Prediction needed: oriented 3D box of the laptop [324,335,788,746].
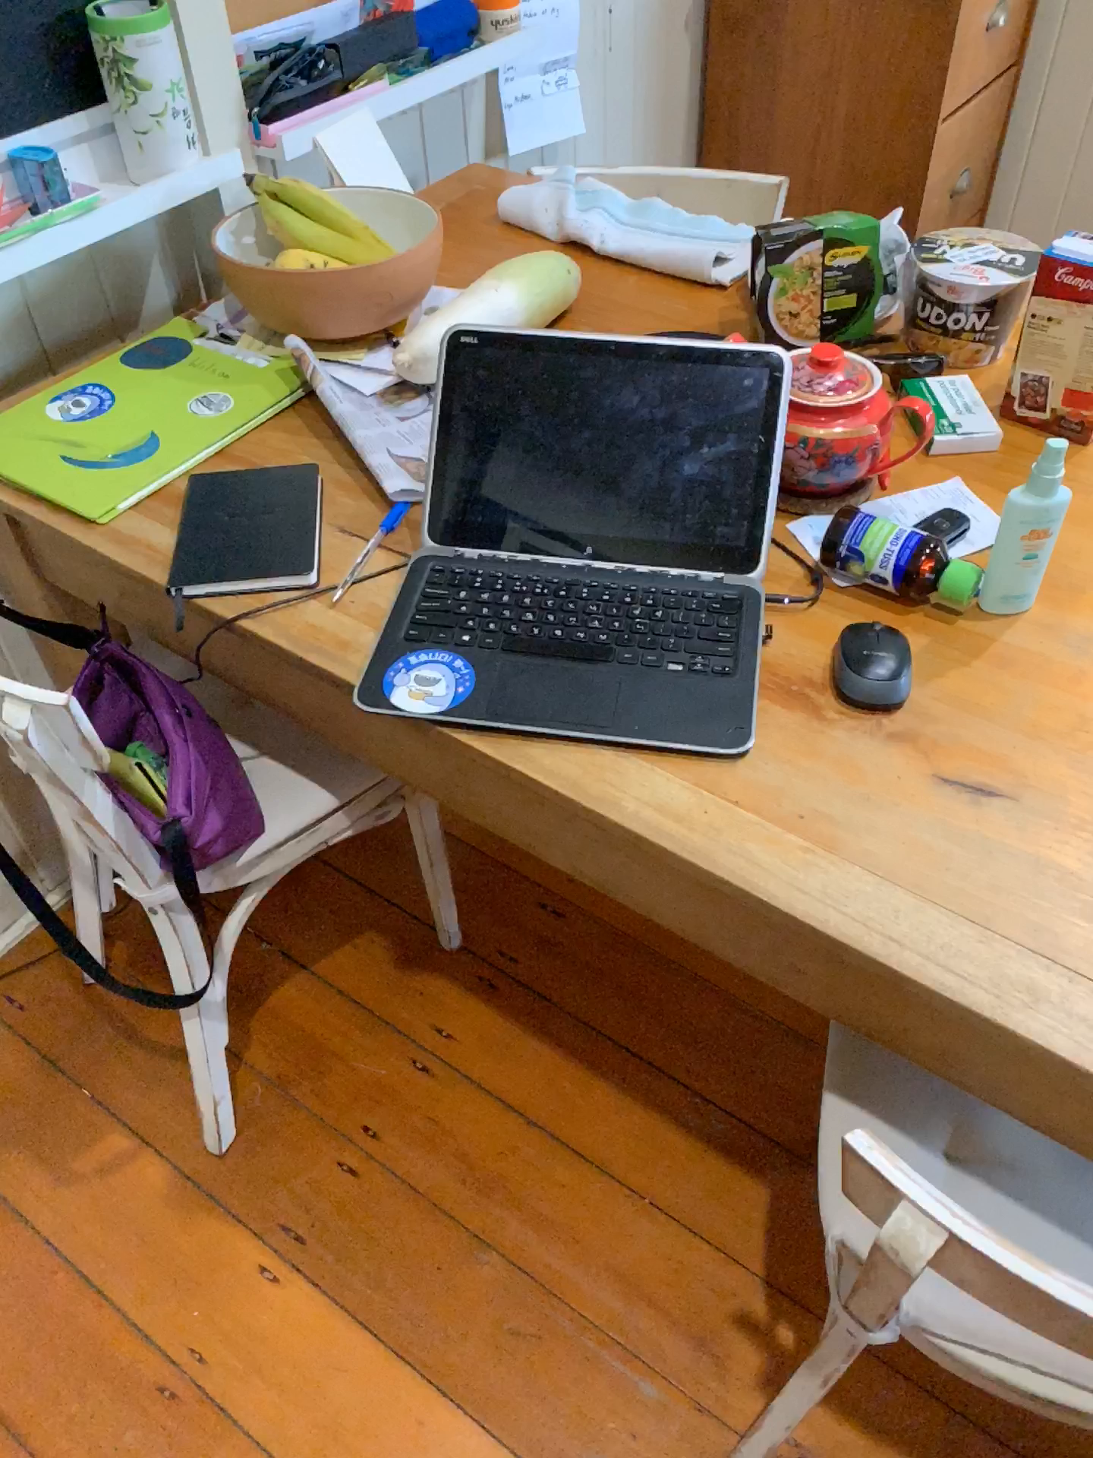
[{"bbox_3d":[0.030,-0.170,0.915,0.303,0.139,0.341,6,46,8],"label":"laptop"}]
